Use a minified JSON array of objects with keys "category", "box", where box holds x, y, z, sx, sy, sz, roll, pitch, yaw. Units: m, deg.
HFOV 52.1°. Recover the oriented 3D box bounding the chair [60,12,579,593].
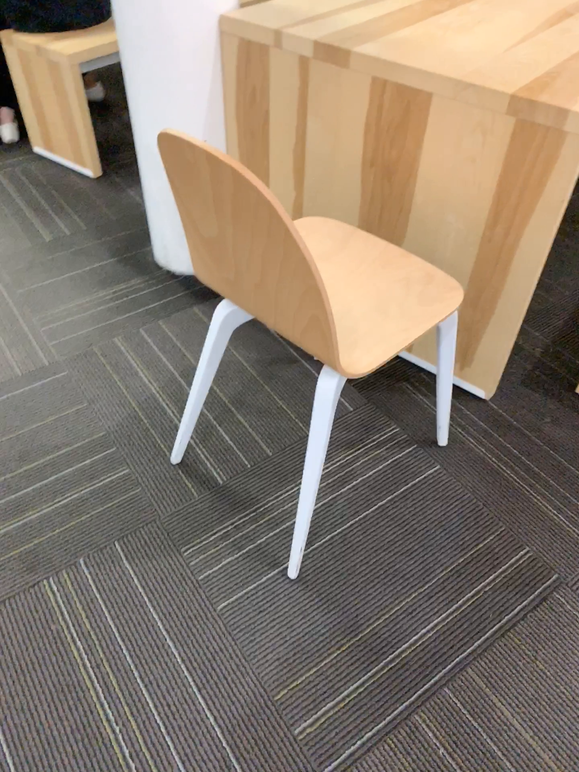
[{"category":"chair","box":[0.044,-0.146,1.133,0.502,0.815,0.551,35,54,29]}]
